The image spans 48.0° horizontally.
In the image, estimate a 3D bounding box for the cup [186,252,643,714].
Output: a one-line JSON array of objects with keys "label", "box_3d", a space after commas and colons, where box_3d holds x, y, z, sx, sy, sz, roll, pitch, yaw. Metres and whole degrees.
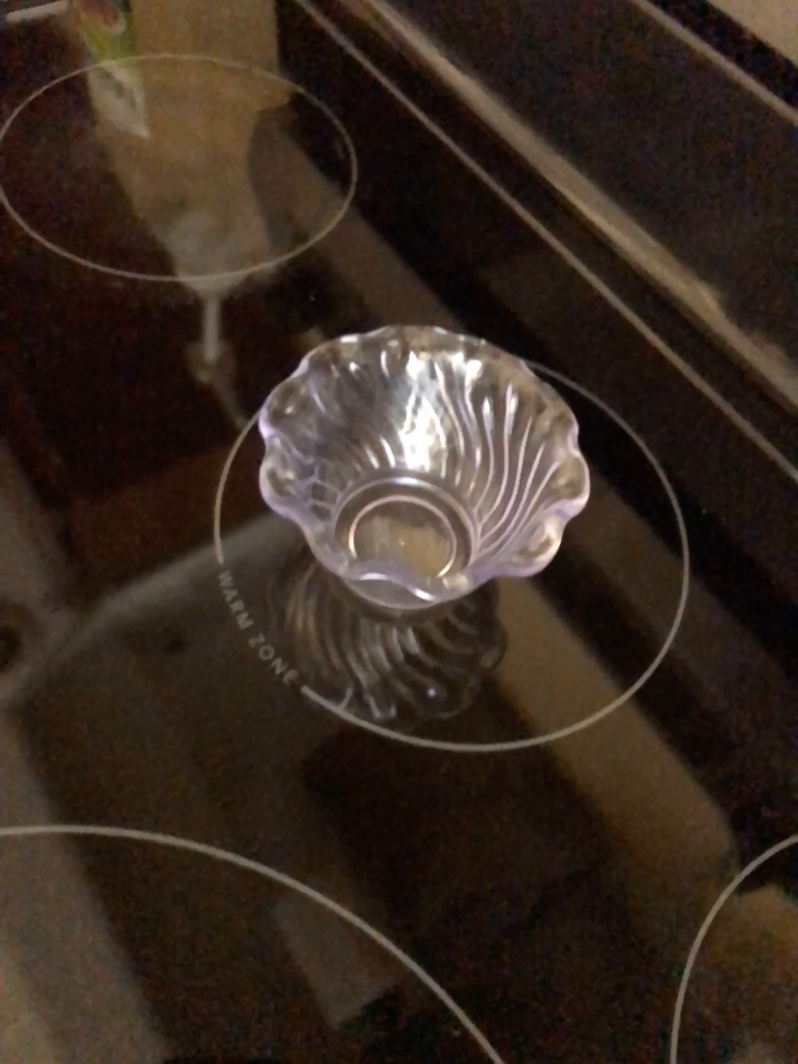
[{"label": "cup", "box_3d": [0.007, -0.016, 0.263, 0.101, 0.052, 0.100, 4, 57, -6]}]
